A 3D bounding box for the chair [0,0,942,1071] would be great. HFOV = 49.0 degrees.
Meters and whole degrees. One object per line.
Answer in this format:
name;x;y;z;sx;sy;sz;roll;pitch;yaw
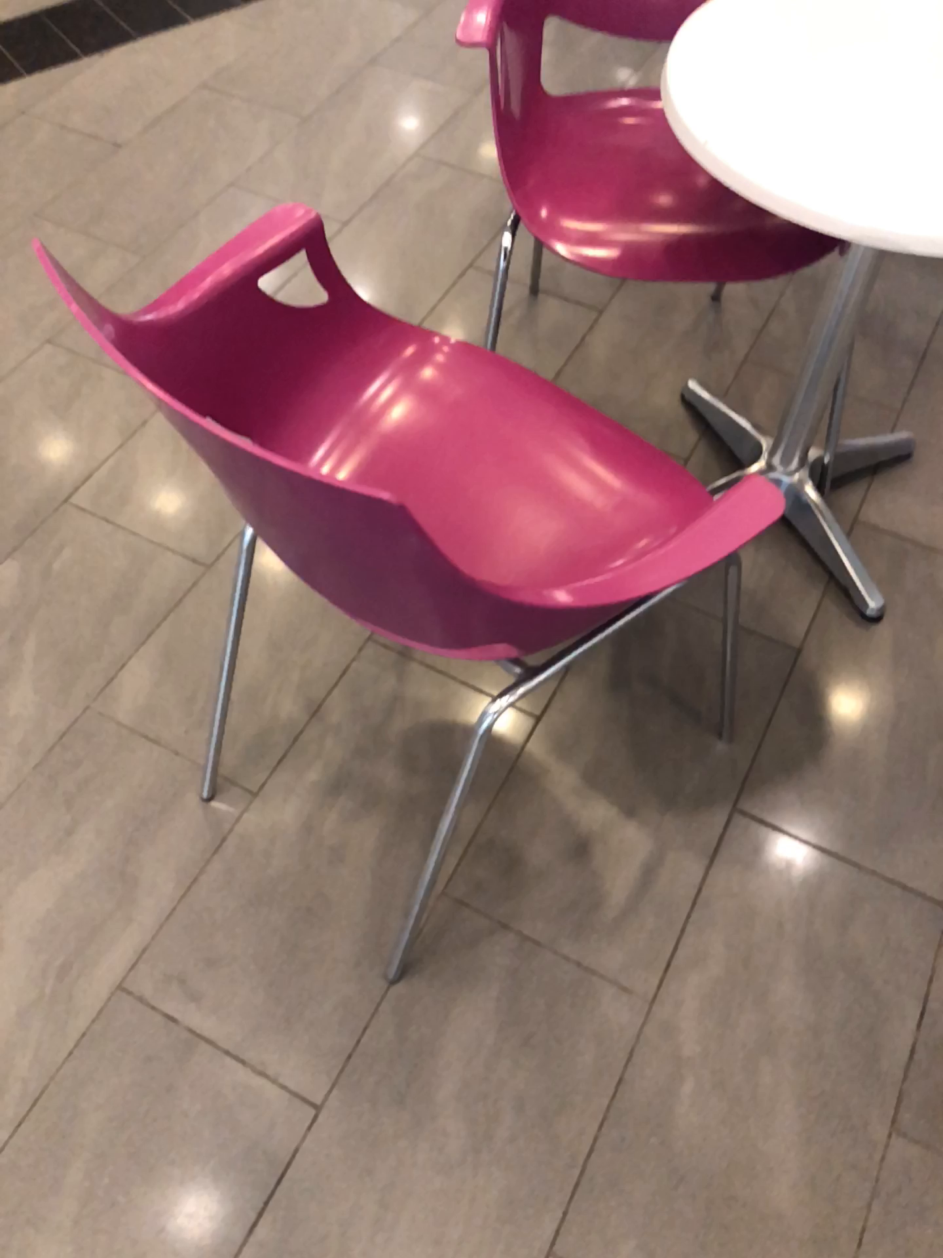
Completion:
chair;-0.030;-0.082;1.086;0.631;0.758;0.591;39;63;23
